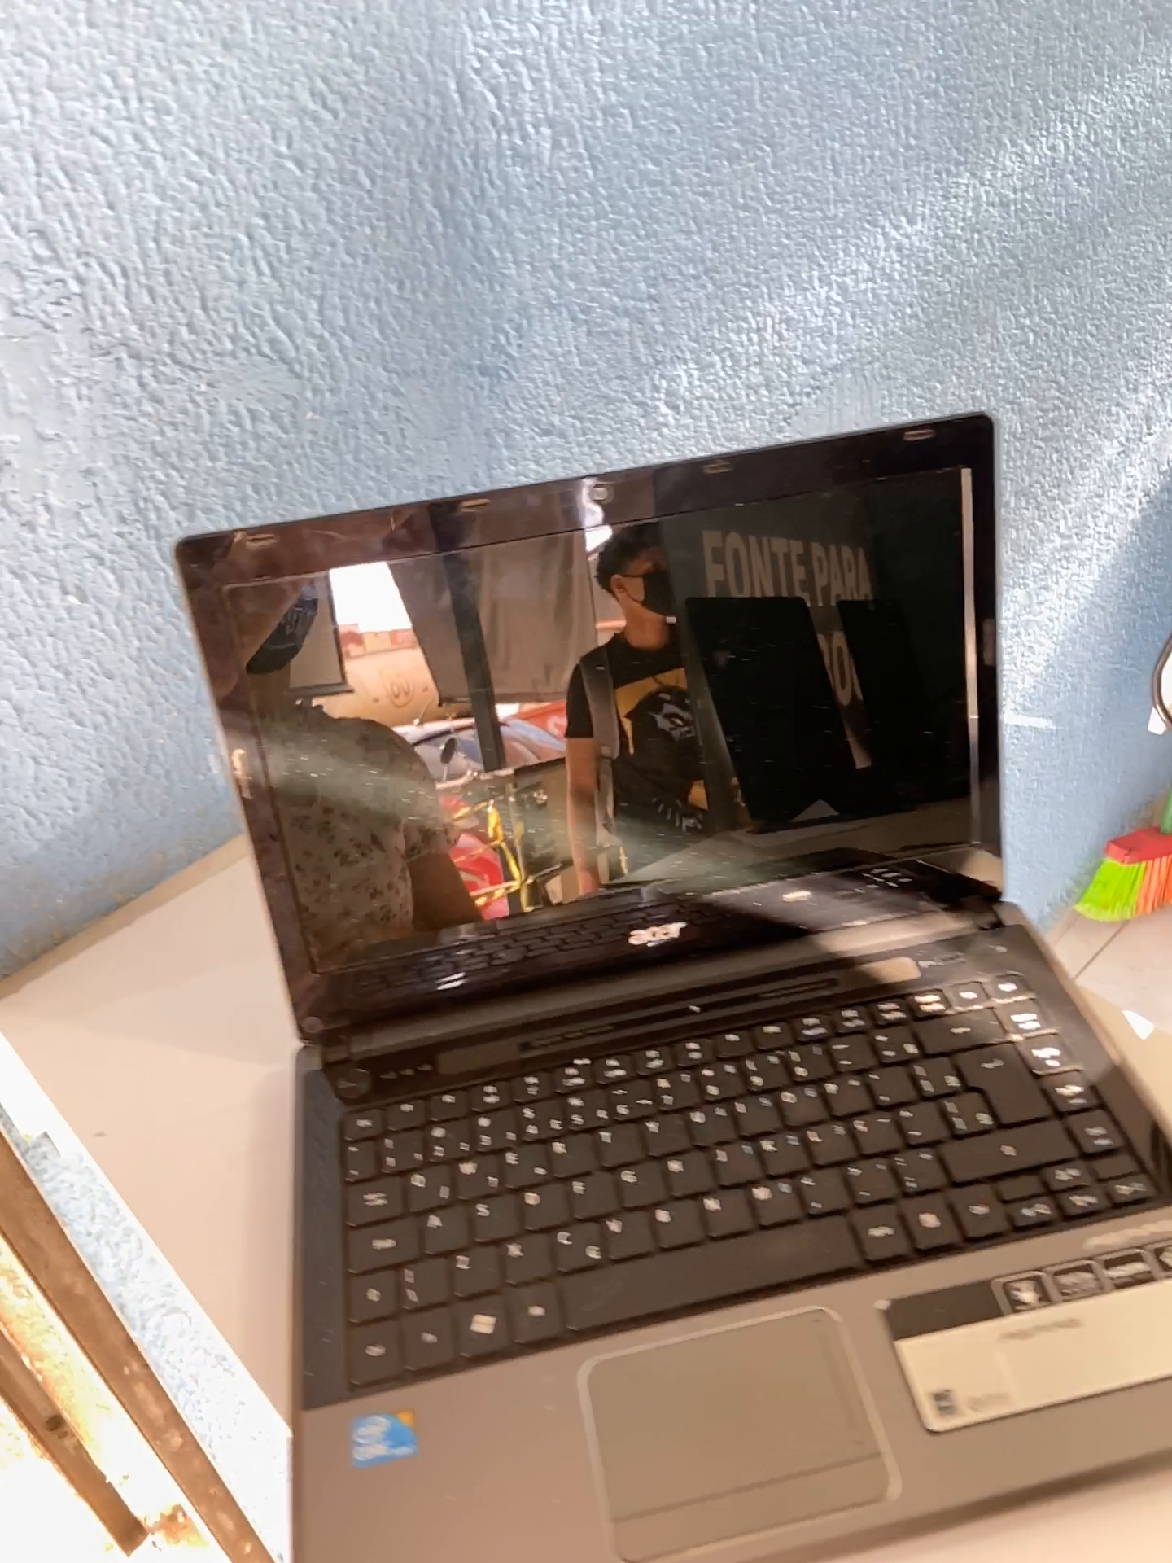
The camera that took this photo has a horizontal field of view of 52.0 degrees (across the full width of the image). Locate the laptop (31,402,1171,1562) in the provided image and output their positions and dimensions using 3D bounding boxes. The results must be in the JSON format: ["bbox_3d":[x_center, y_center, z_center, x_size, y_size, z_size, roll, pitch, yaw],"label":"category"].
[{"bbox_3d":[0.042,0.052,0.423,0.336,0.207,0.320,-11,38,-5],"label":"laptop"}]
